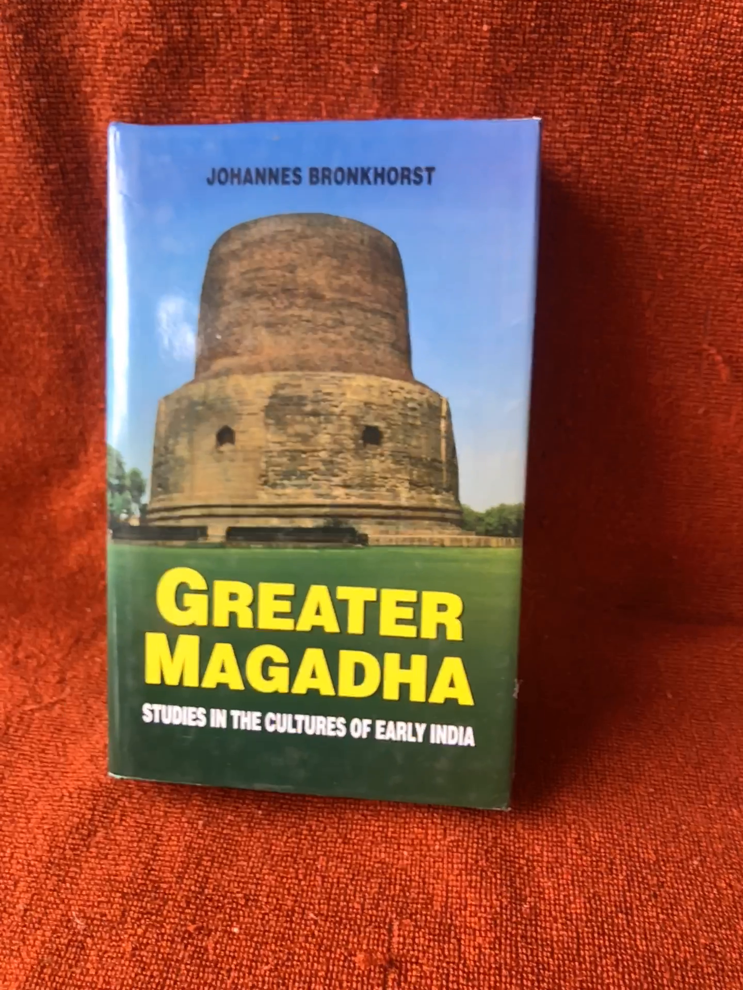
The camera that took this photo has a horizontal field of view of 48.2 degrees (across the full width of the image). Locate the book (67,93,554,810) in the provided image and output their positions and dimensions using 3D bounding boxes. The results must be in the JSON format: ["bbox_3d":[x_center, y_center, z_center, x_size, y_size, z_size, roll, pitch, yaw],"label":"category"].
[{"bbox_3d":[-0.023,-0.014,0.278,0.150,0.220,0.030,3,6,7],"label":"book"}]
